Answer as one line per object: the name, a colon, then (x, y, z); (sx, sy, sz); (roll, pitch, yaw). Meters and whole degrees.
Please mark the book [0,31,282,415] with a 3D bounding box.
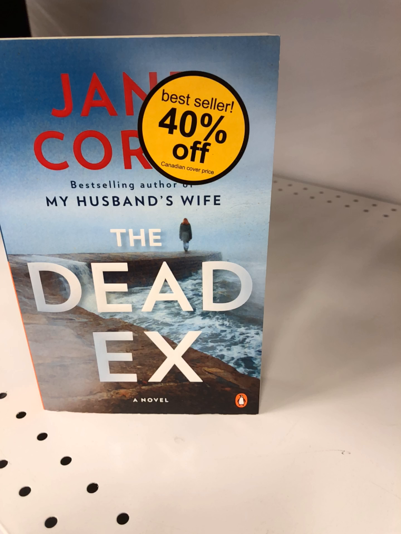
book: (-0.035, -0.010, 0.252); (0.146, 0.211, 0.040); (0, 28, 4)
